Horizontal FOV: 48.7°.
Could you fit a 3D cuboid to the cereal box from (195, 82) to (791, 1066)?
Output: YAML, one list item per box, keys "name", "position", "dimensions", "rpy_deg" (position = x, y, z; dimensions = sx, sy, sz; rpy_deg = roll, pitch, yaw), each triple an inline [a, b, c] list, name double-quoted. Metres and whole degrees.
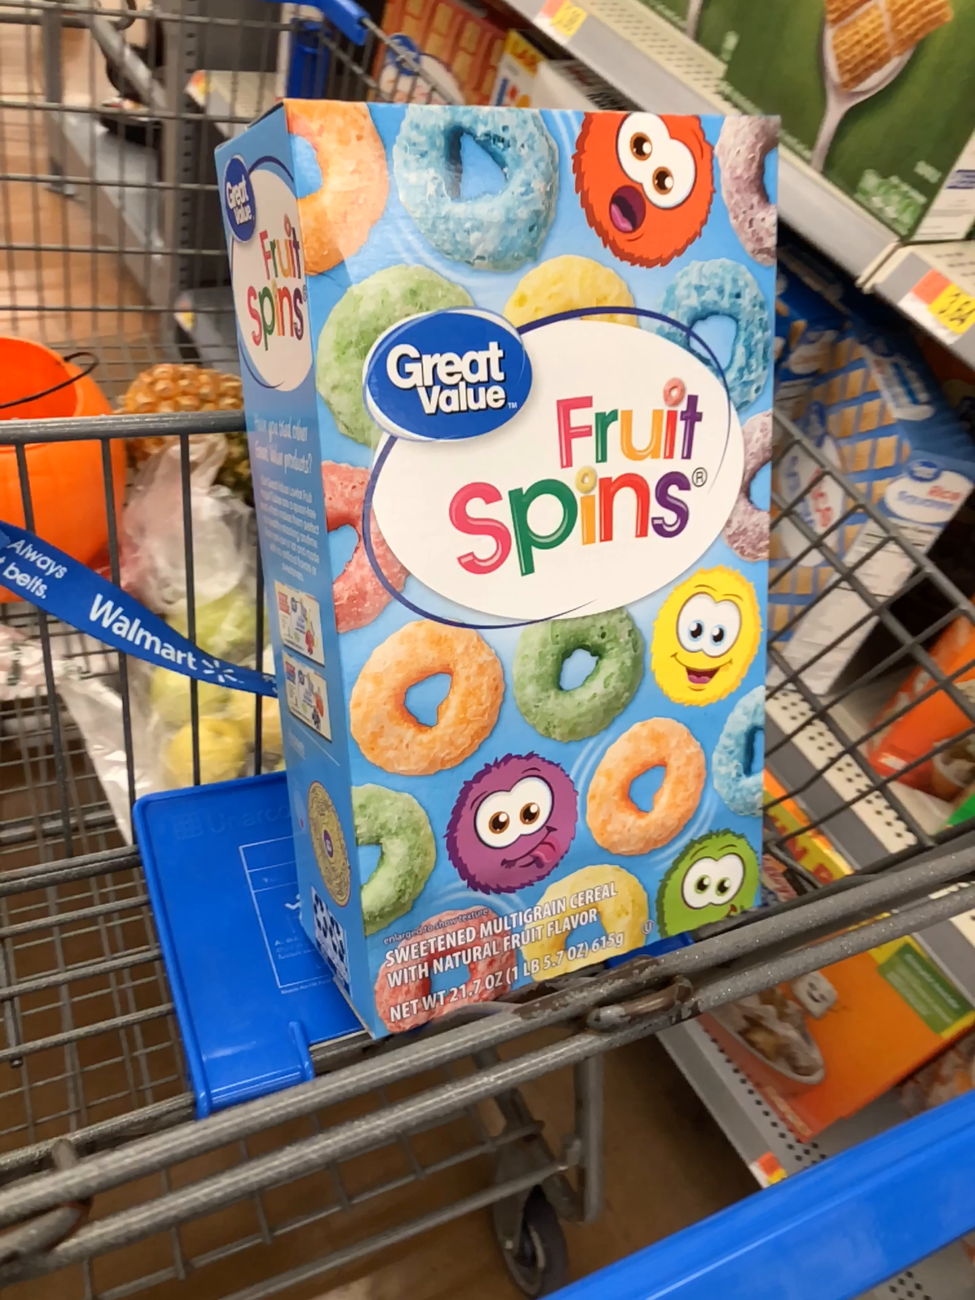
- name: "cereal box"
  position: [0.010, -0.031, 0.446]
  dimensions: [0.200, 0.340, 0.090]
  rpy_deg: [-11, 19, -26]
